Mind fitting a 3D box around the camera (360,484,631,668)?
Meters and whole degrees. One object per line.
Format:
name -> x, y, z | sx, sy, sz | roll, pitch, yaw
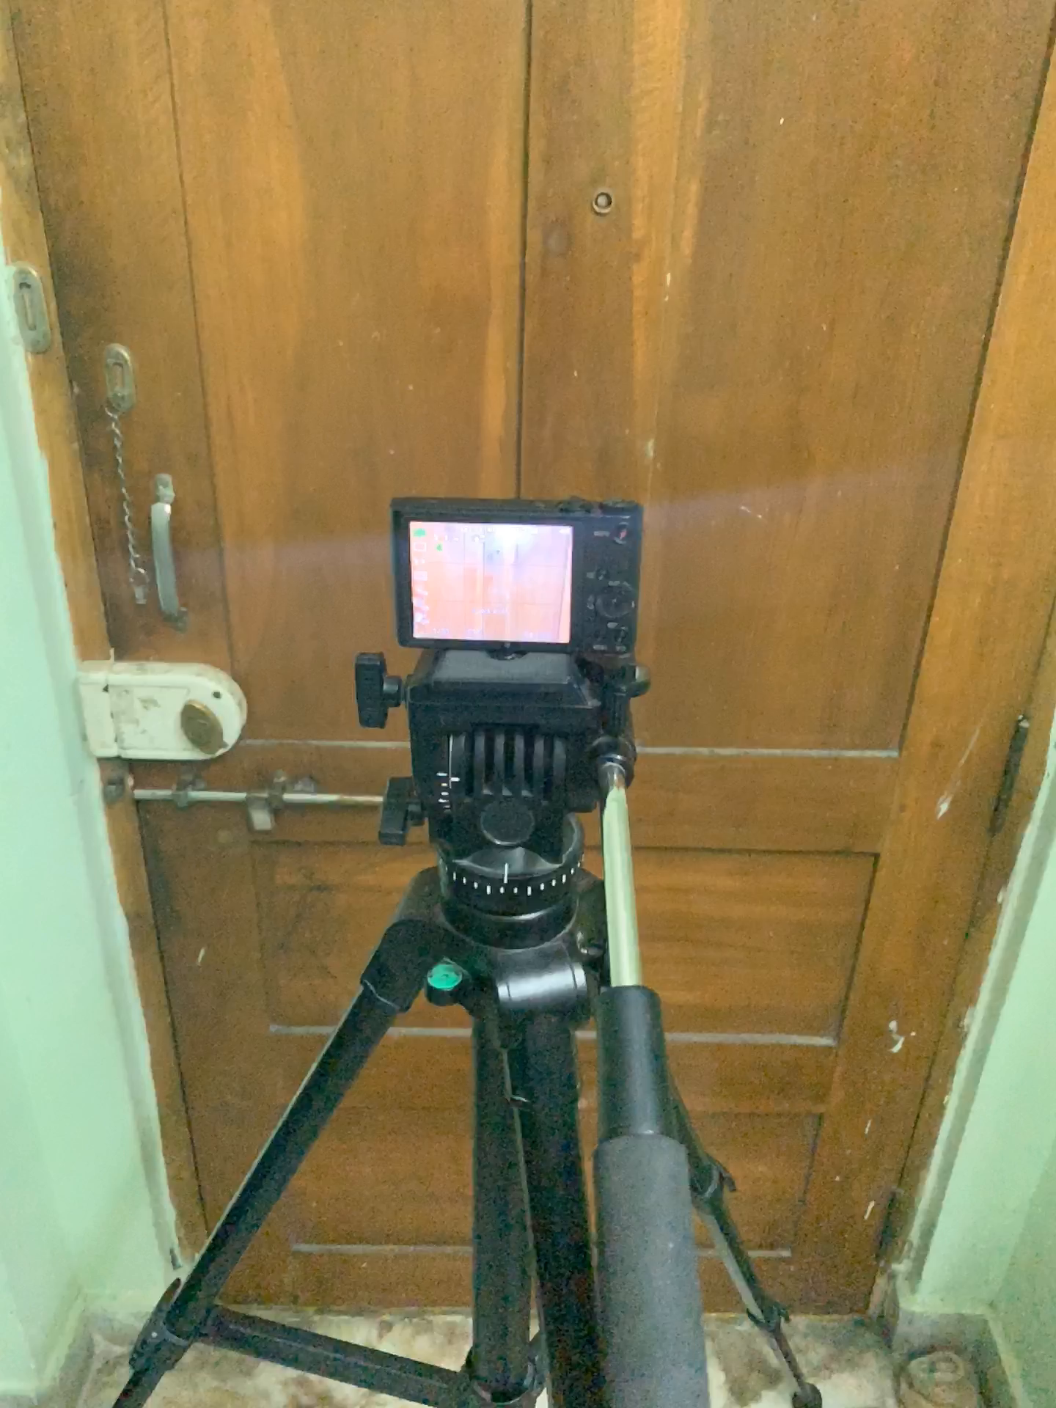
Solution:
camera -> -0.012, -0.051, 0.428 | 0.100, 0.060, 0.040 | 3, 21, 2
